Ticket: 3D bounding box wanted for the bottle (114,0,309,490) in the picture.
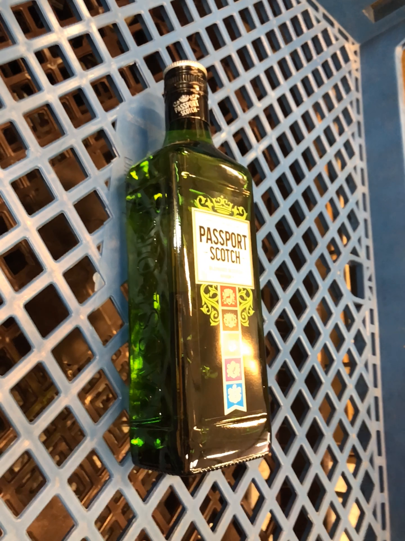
[{"bbox_3d":[0.000,-0.026,0.289,0.080,0.070,0.280,6,75,-40],"label":"bottle"}]
